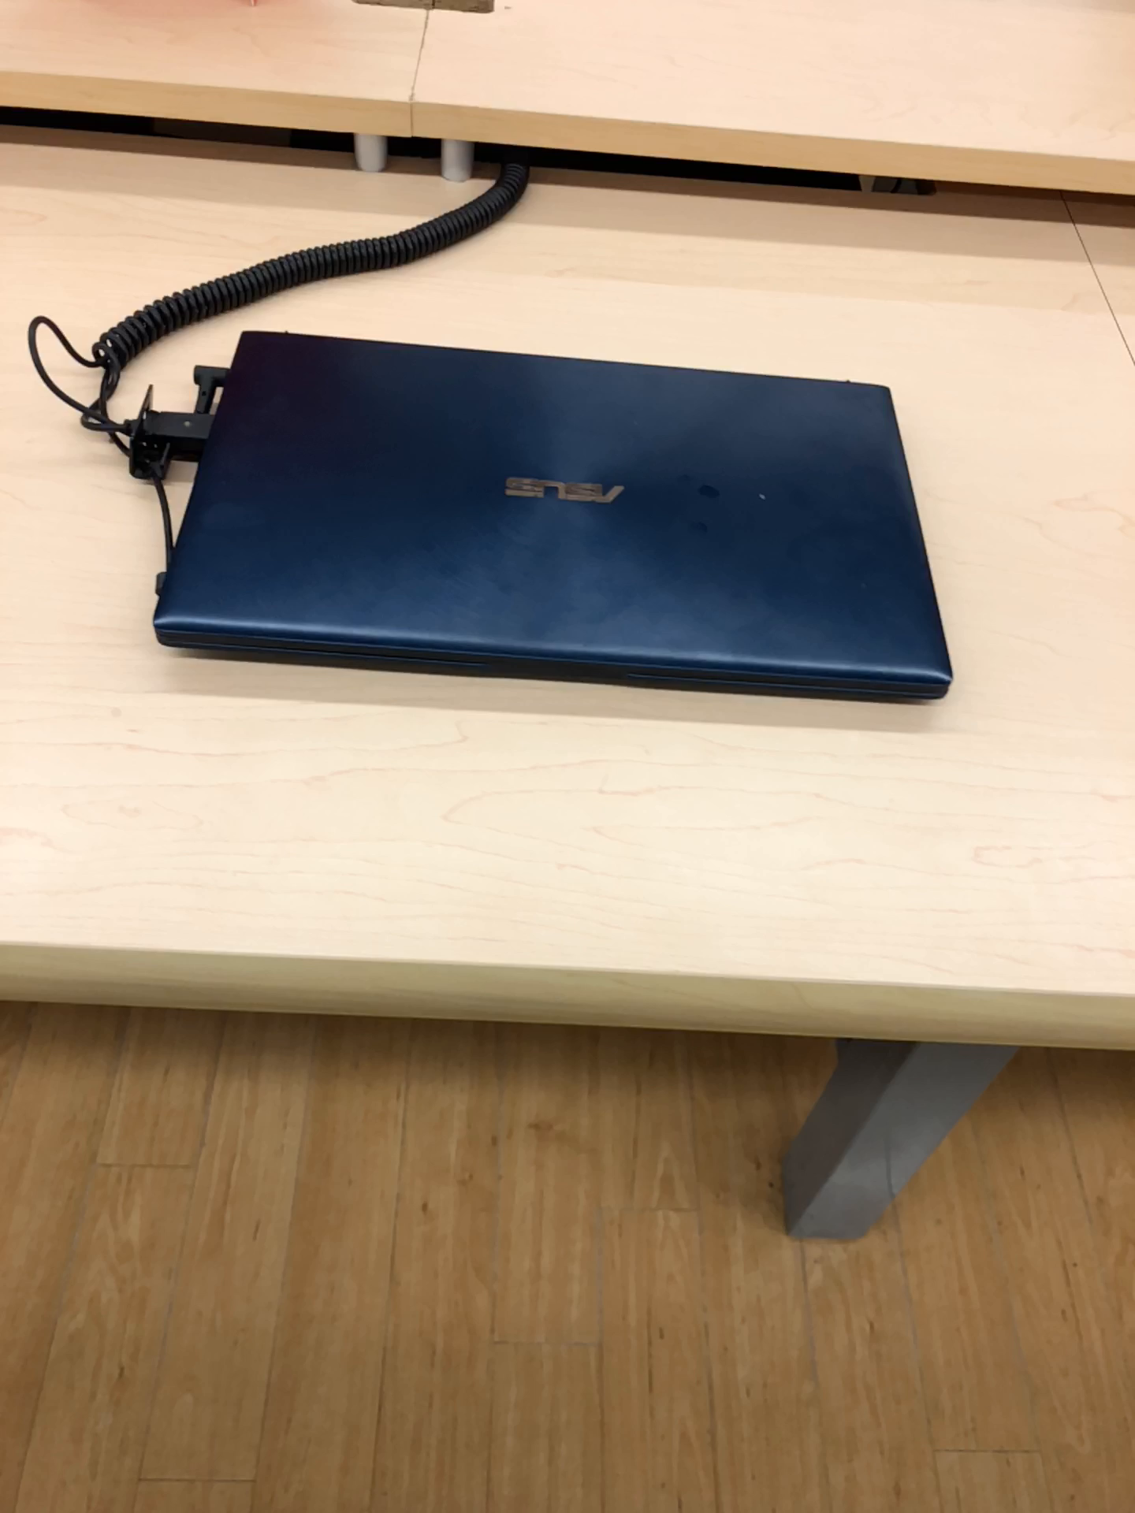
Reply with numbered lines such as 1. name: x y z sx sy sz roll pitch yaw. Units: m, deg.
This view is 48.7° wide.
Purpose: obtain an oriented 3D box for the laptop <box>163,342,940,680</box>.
1. laptop: -0.001 -0.110 0.529 0.295 0.001 0.178 4 53 -3
